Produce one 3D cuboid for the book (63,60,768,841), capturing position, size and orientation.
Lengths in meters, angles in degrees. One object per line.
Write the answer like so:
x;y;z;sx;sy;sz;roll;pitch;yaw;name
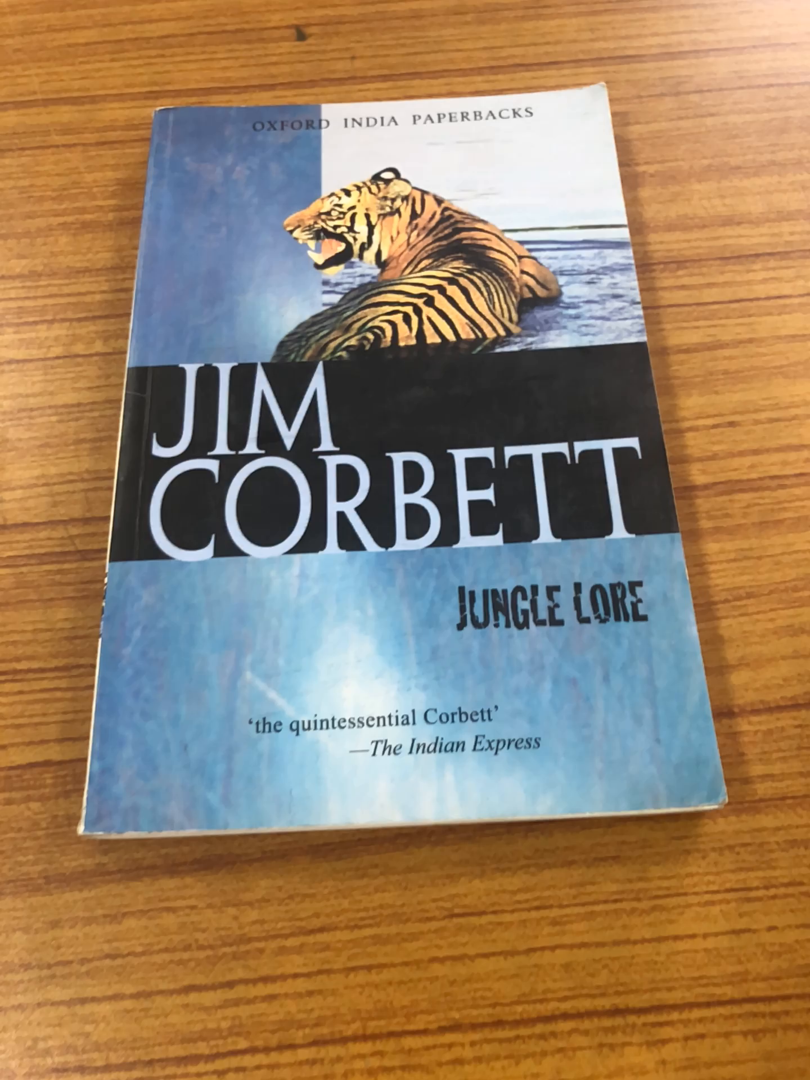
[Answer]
-0.002;-0.039;0.241;0.150;0.010;0.220;-3;67;1;book
